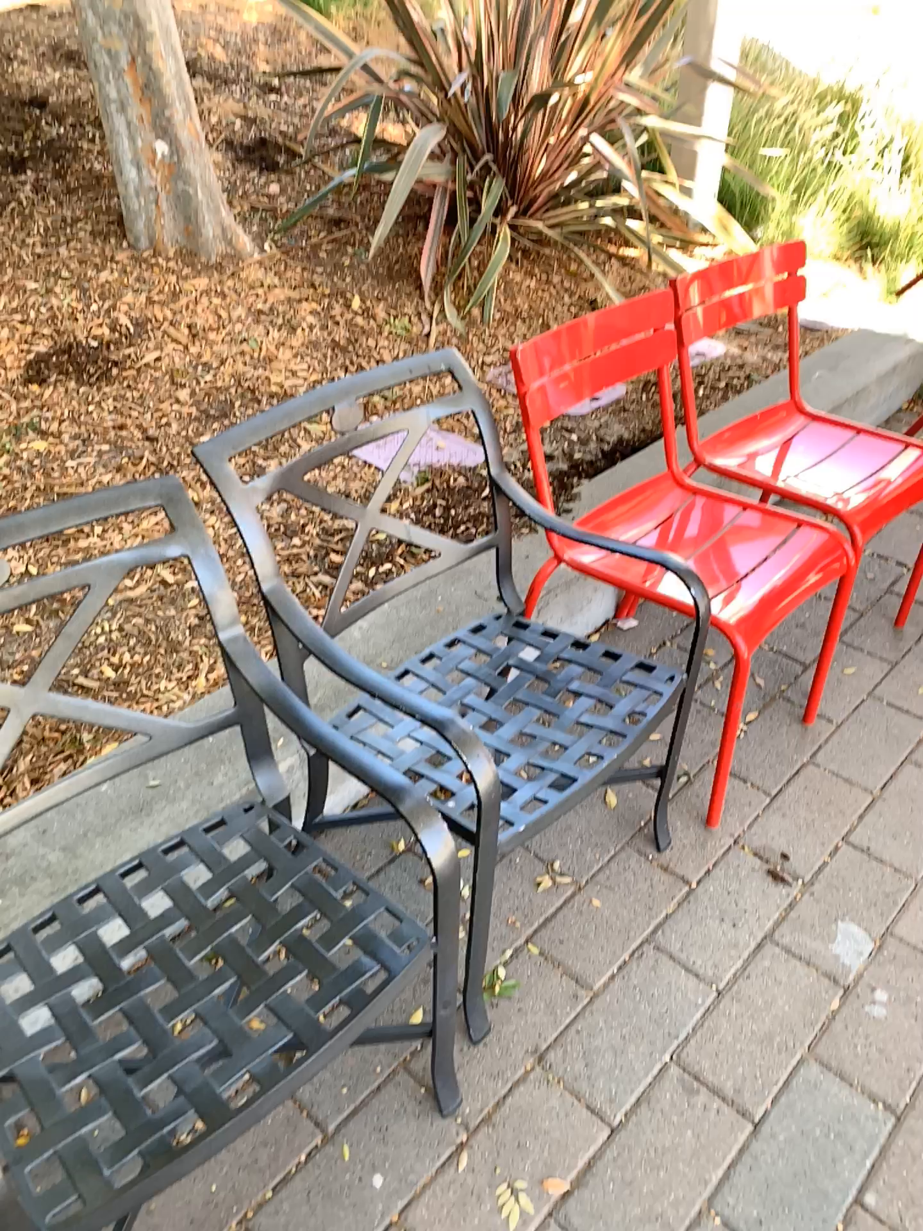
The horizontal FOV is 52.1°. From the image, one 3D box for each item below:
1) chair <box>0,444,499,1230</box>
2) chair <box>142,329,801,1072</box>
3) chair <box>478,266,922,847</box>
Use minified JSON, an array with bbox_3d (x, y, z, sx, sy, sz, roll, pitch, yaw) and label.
[{"bbox_3d":[-0.428,0.363,1.185,0.693,0.815,0.621,29,45,34],"label":"chair"},{"bbox_3d":[0.009,0.086,1.565,0.693,0.815,0.621,29,45,34],"label":"chair"},{"bbox_3d":[0.484,-0.158,1.903,0.642,0.815,0.621,29,45,34],"label":"chair"}]
